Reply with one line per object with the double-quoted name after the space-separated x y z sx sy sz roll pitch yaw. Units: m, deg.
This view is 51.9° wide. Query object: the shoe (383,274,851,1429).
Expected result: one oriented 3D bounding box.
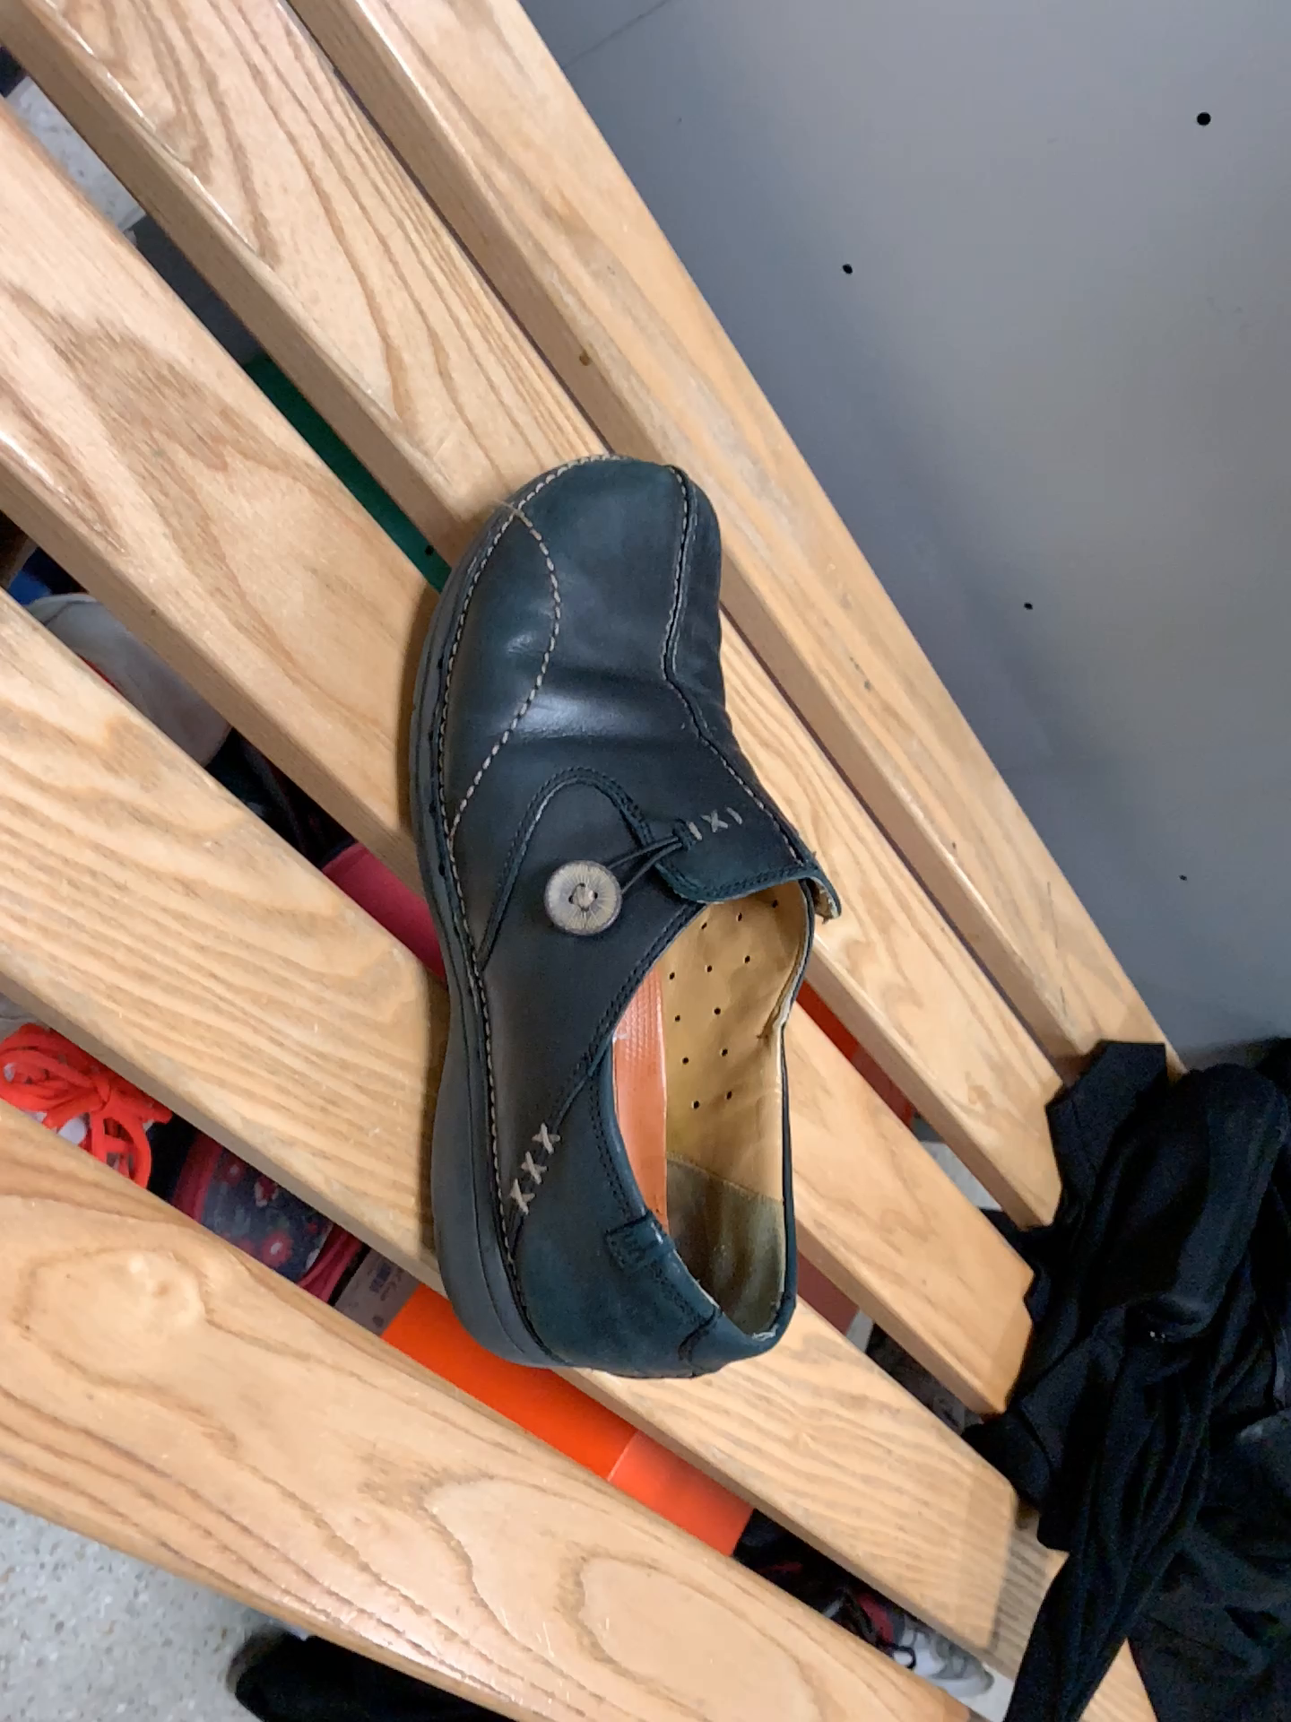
-0.007 -0.002 0.370 0.104 0.075 0.268 5 82 -48 "shoe"
